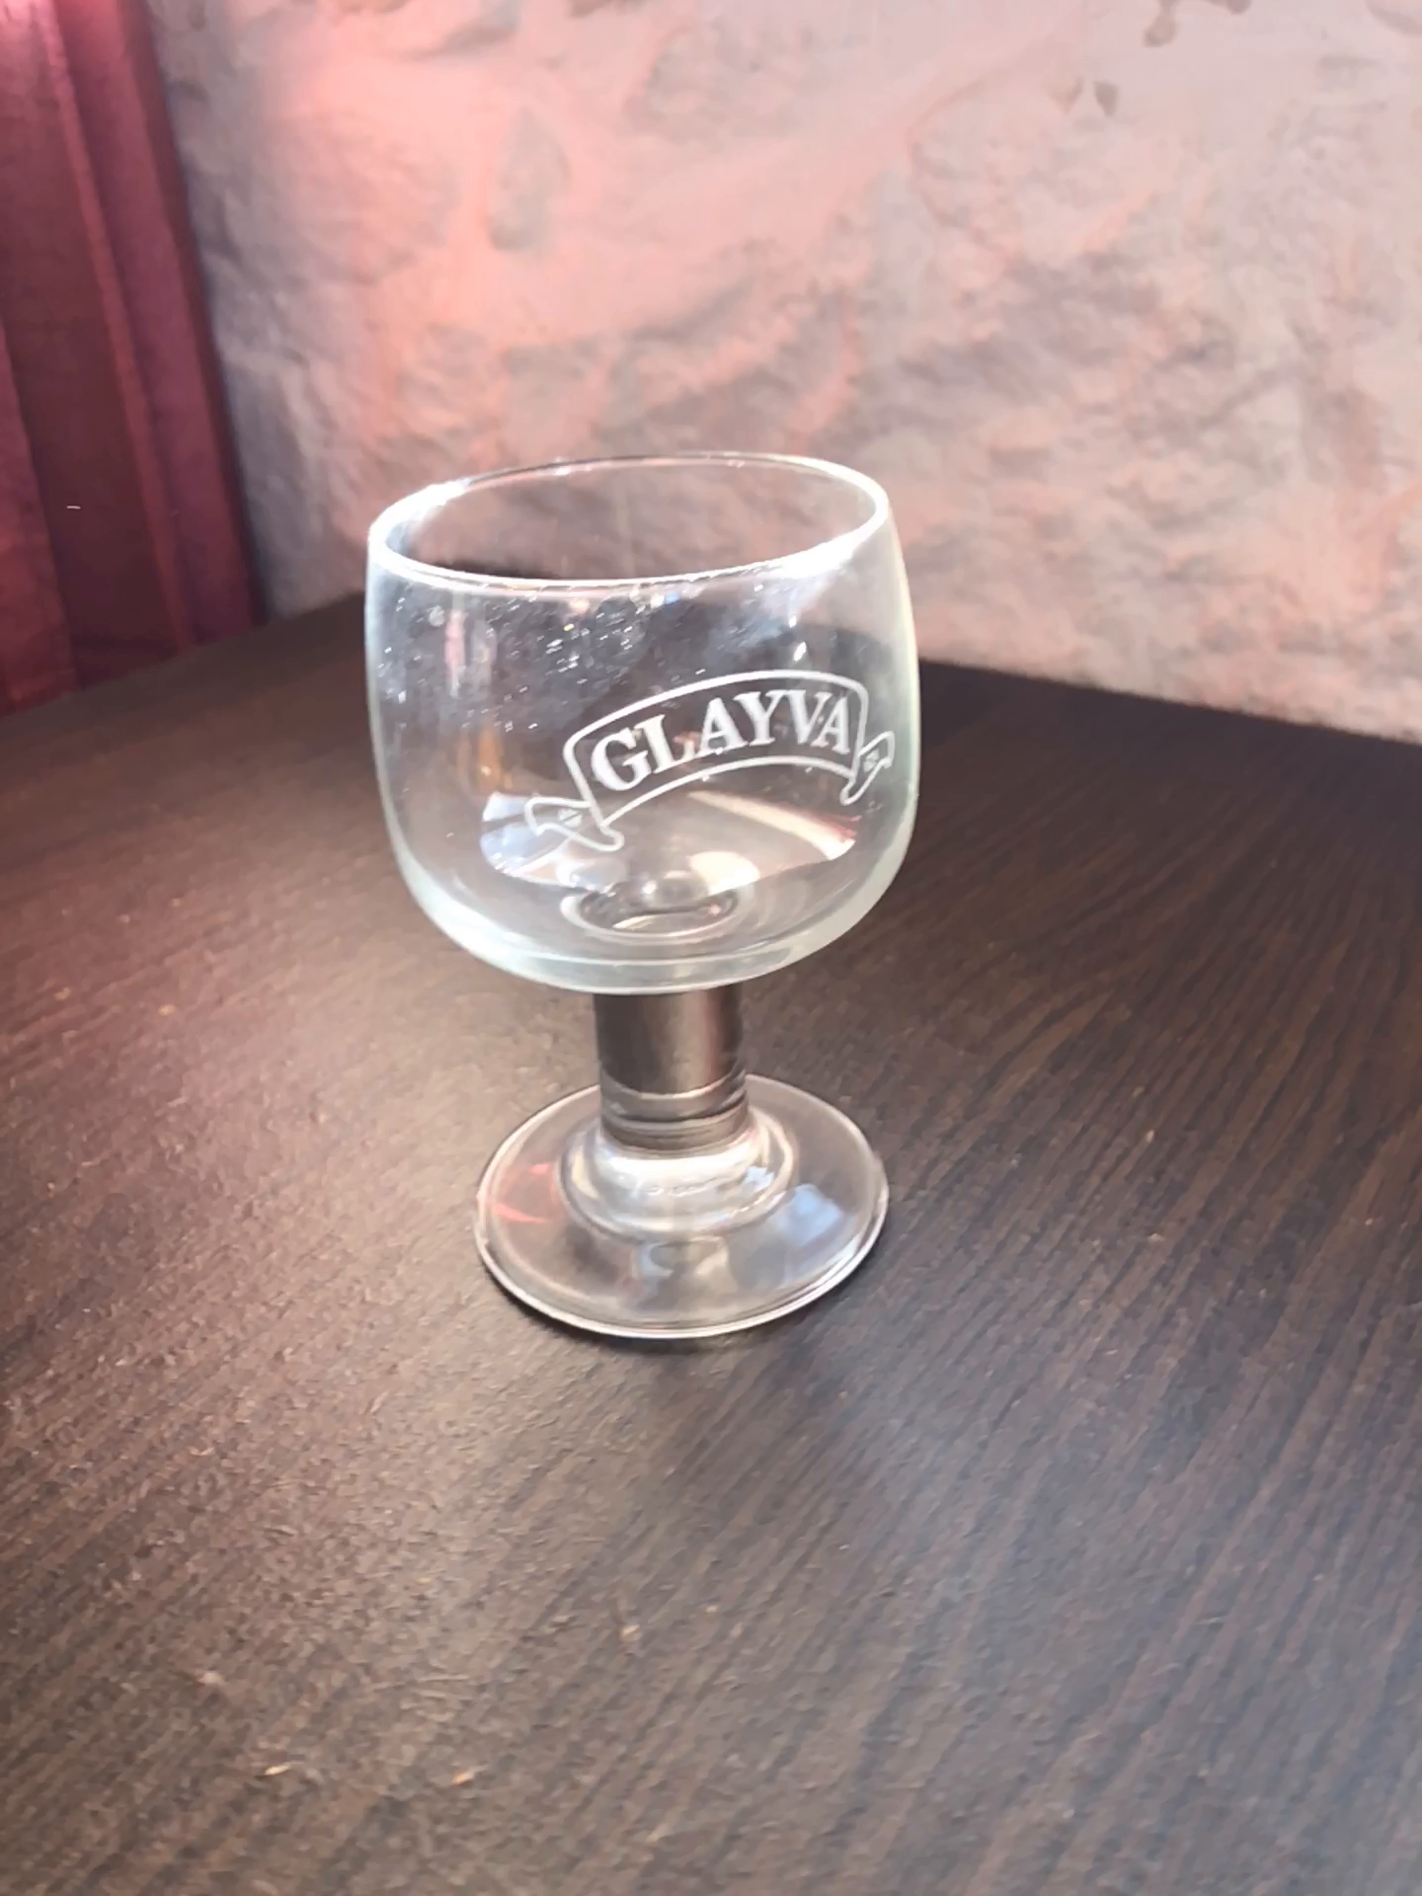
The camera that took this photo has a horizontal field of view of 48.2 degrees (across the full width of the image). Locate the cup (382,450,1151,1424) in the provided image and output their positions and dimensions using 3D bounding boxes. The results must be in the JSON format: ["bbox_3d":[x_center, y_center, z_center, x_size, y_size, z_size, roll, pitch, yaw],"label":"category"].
[{"bbox_3d":[0.003,-0.009,0.237,0.077,0.107,0.086,-11,28,-17],"label":"cup"}]
